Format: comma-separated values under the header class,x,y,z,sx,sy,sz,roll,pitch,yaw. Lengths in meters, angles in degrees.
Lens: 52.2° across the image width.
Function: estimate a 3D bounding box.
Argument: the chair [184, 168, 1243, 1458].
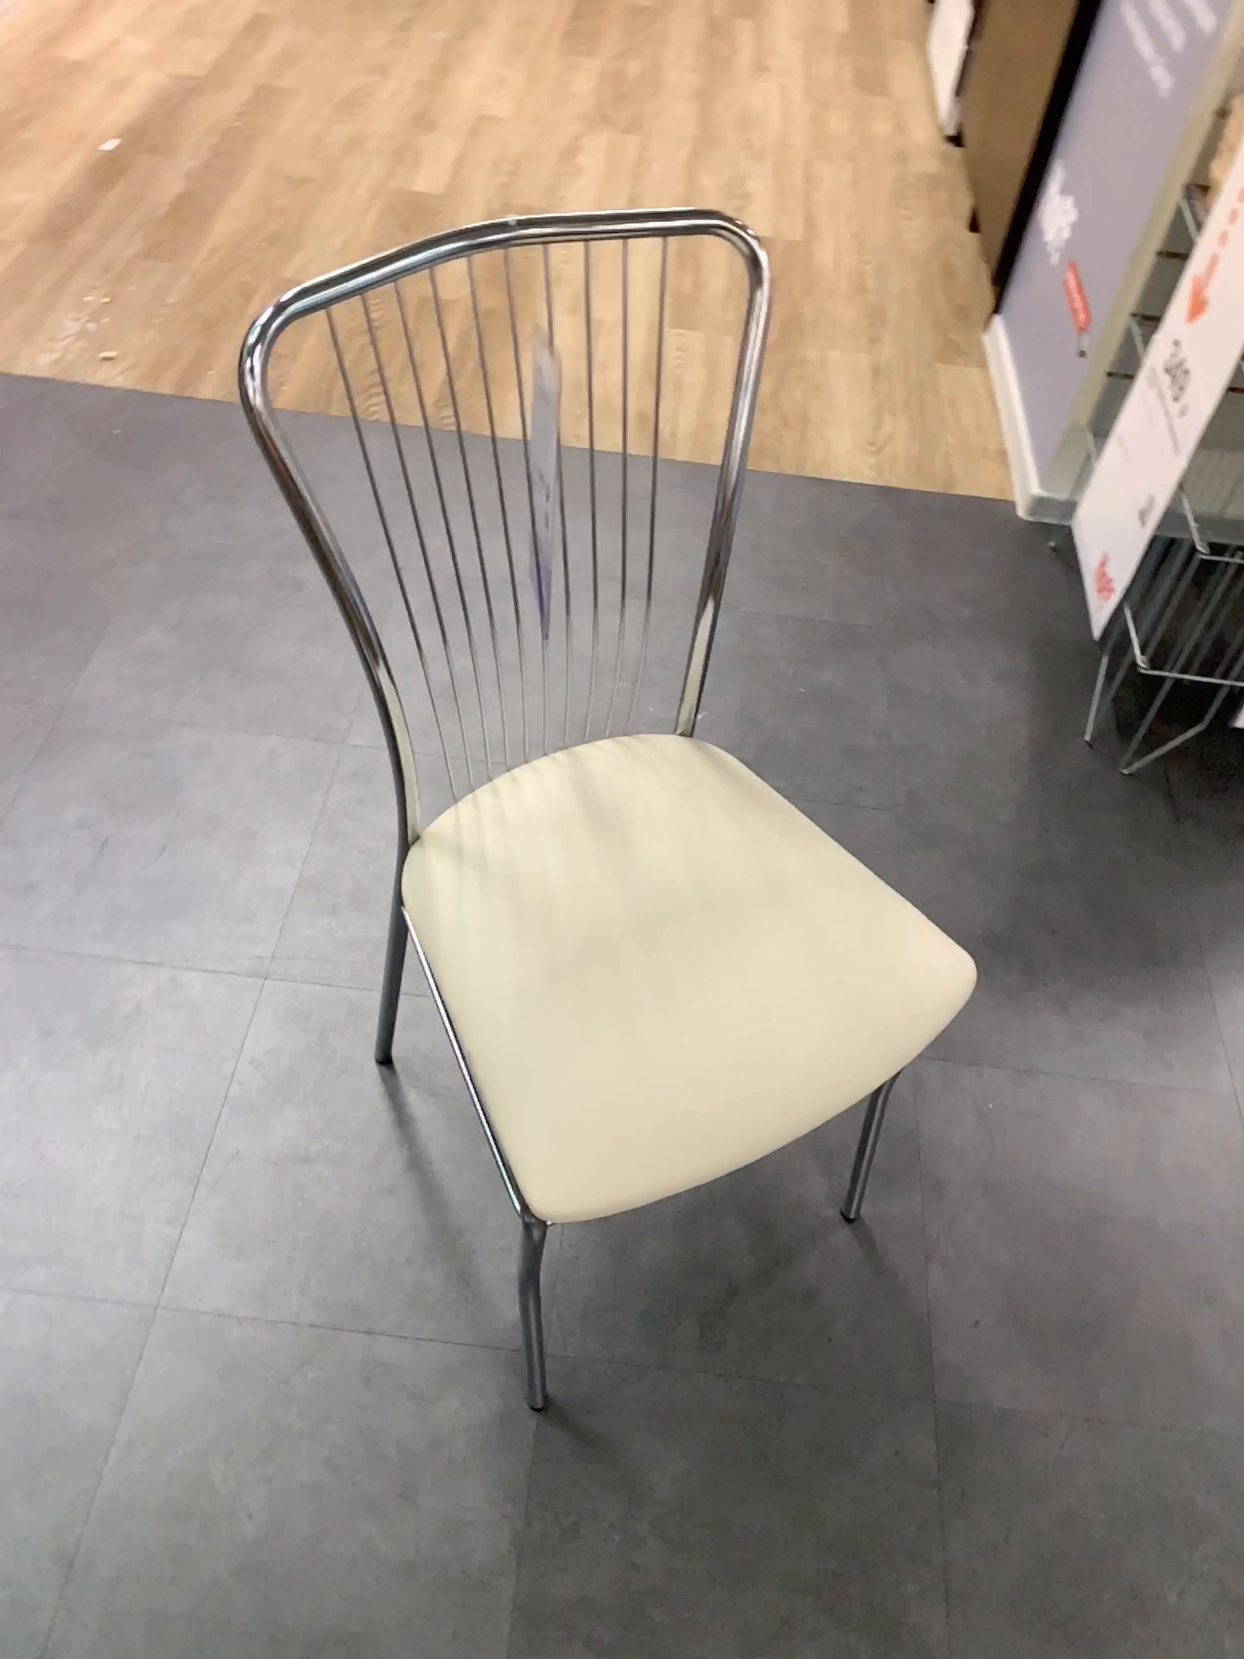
class,x,y,z,sx,sy,sz,roll,pitch,yaw
chair,0.007,0.050,1.146,0.472,0.965,0.554,-20,55,-22
